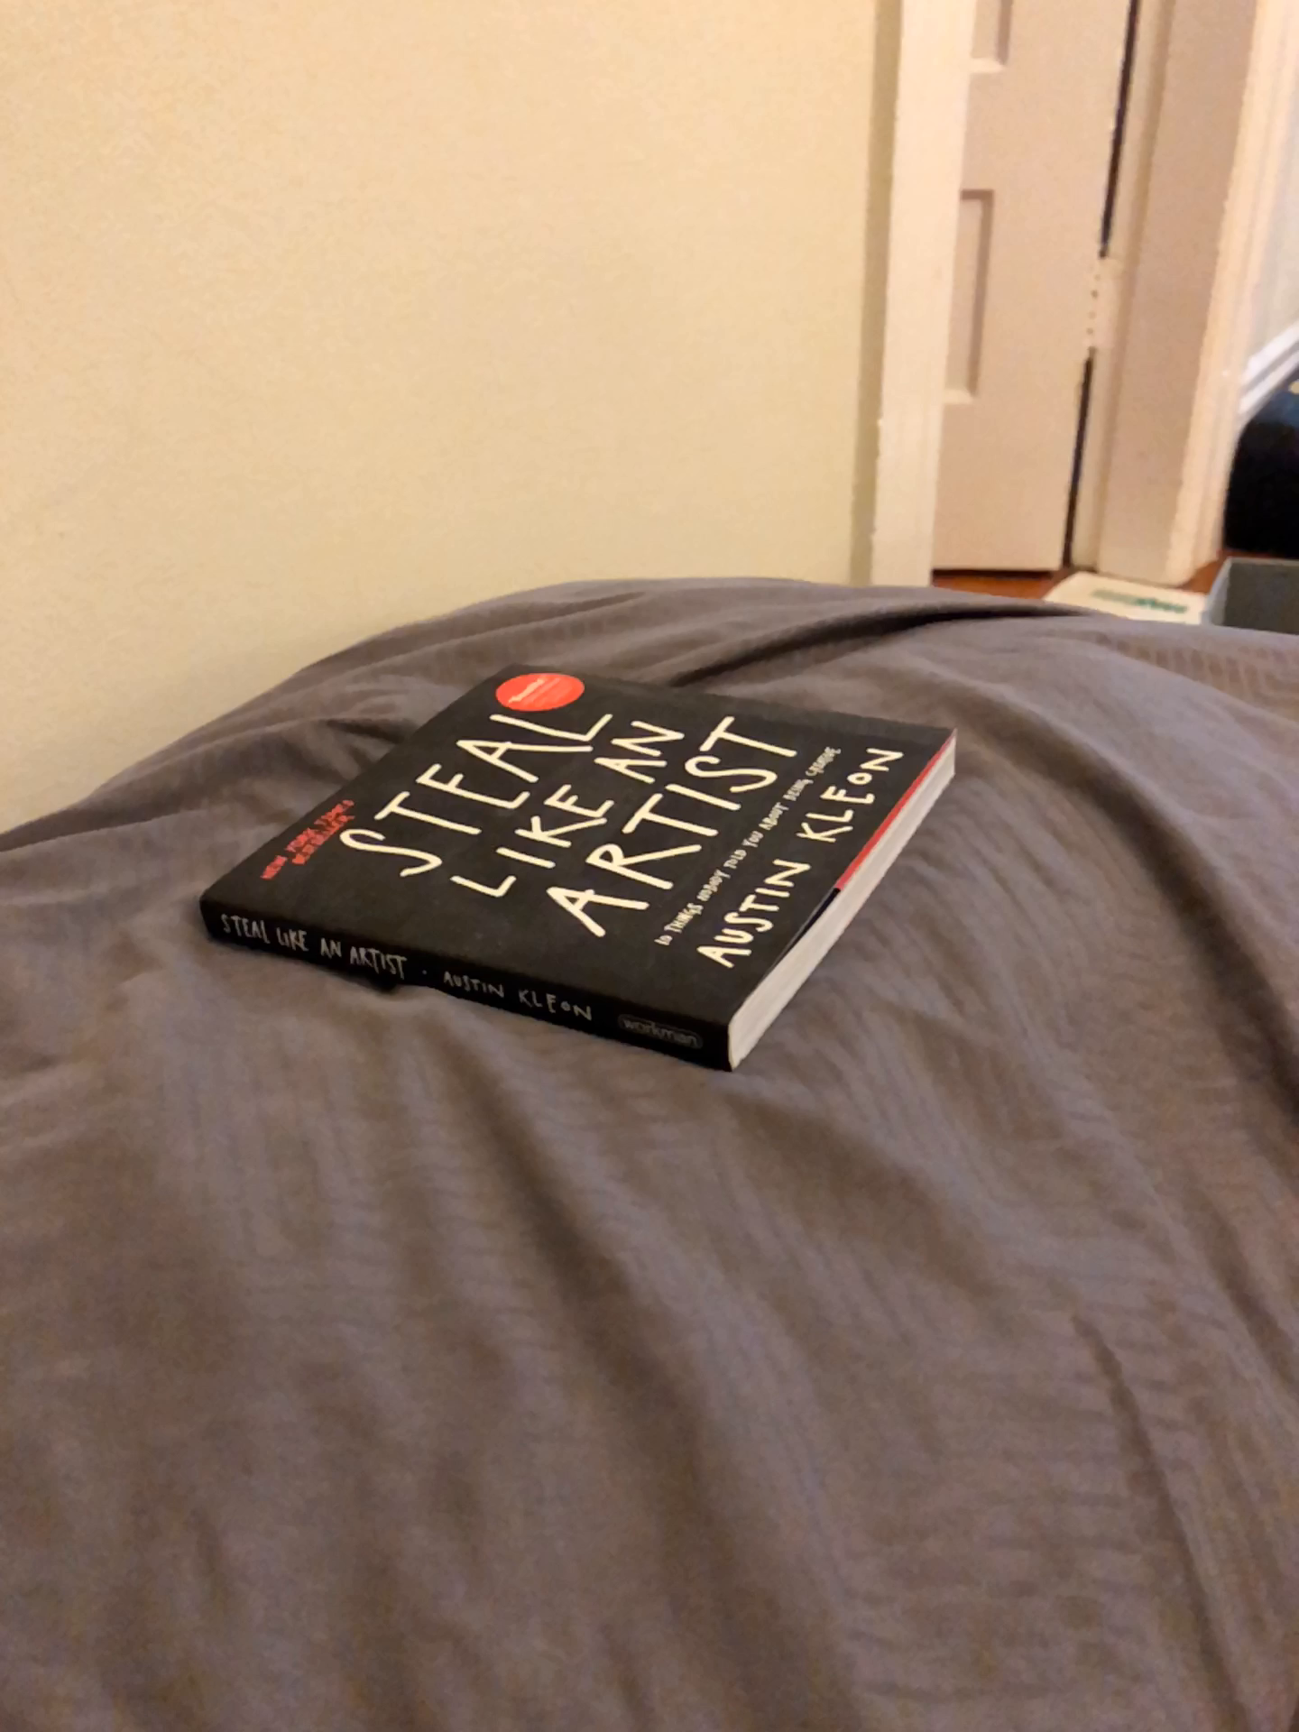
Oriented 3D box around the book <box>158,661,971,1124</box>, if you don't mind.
[{"bbox_3d":[-0.015,-0.007,0.392,0.160,0.020,0.161,12,34,26],"label":"book"}]
